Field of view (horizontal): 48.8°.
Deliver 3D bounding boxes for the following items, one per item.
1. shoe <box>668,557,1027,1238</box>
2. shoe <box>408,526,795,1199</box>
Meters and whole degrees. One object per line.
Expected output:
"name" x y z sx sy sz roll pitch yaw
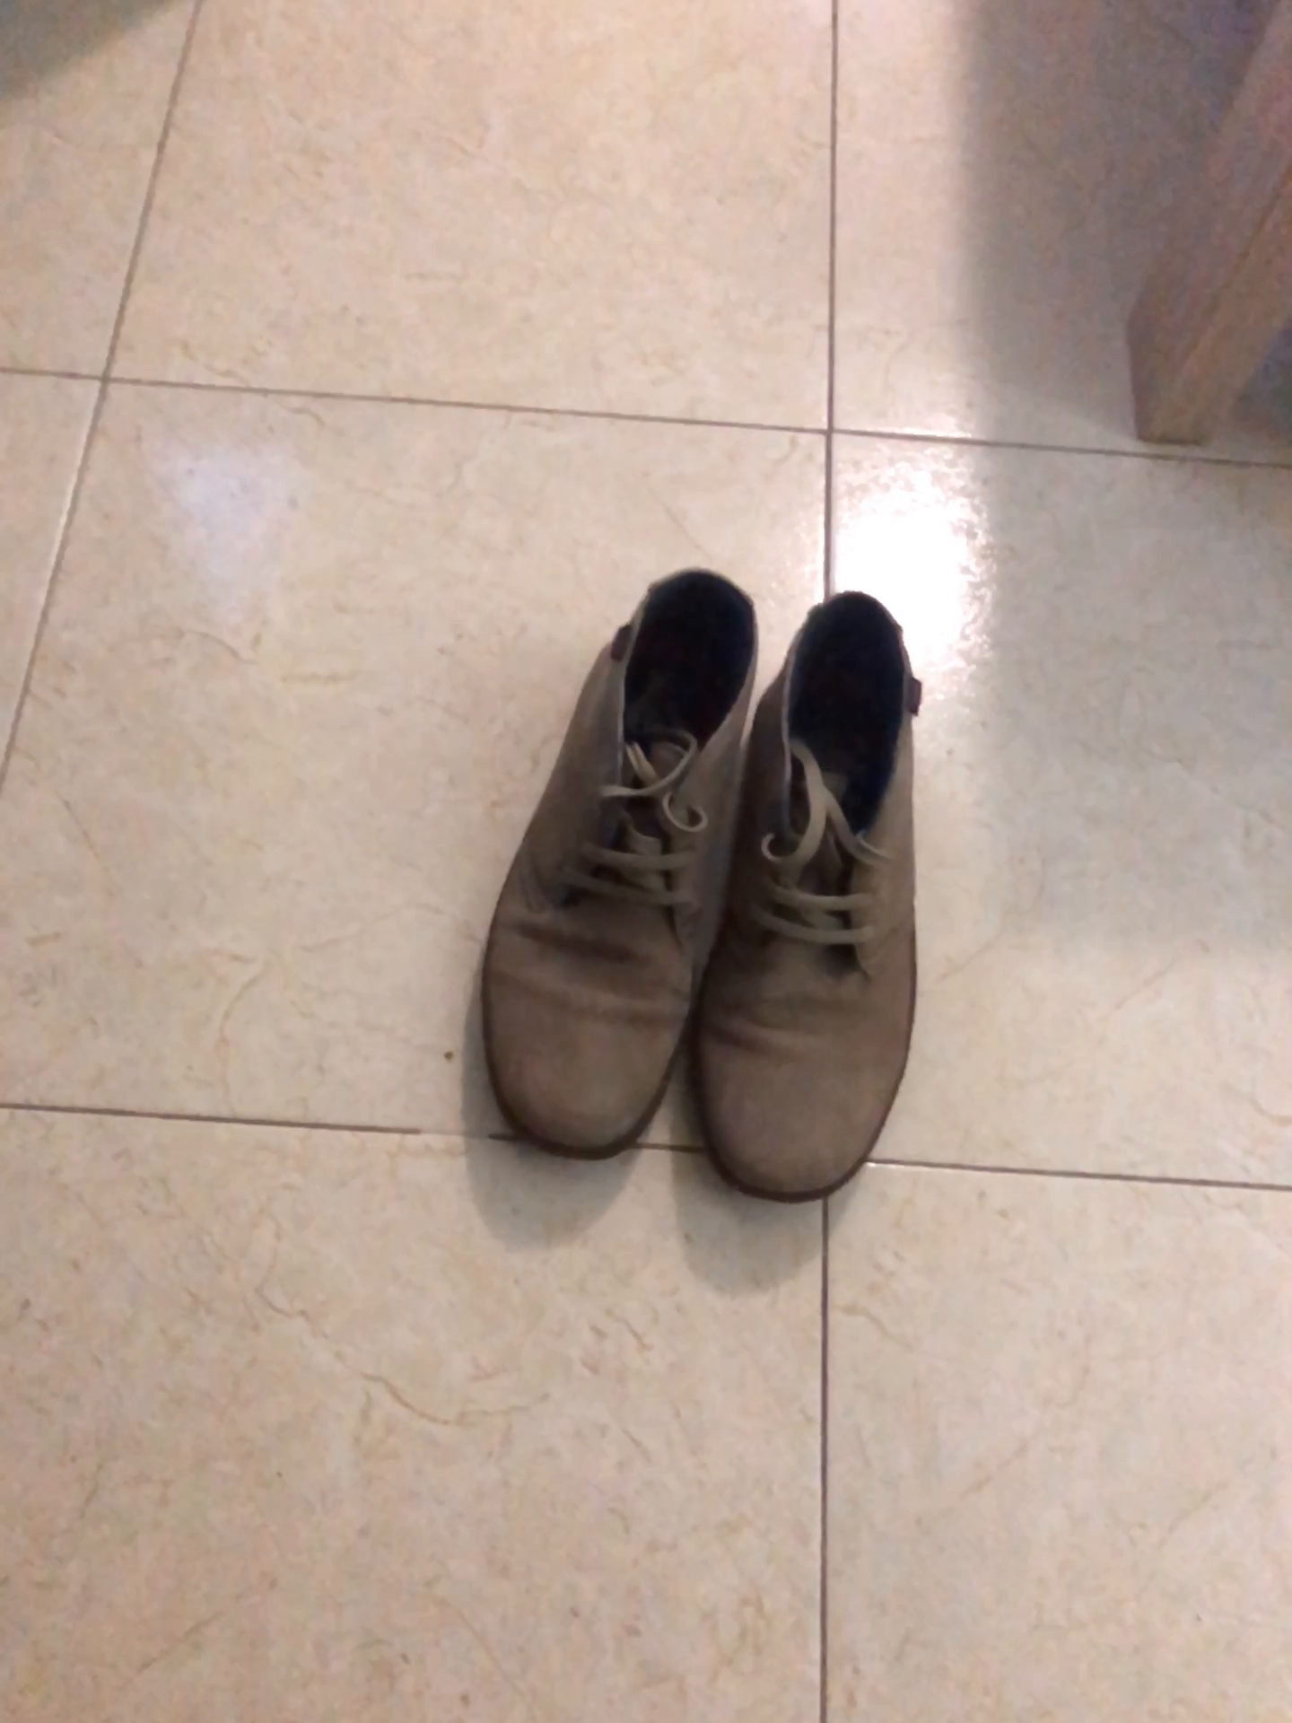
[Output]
"shoe" 0.095 0.017 0.670 0.120 0.120 0.280 9 67 1
"shoe" -0.015 0.000 0.679 0.110 0.120 0.280 12 67 2
